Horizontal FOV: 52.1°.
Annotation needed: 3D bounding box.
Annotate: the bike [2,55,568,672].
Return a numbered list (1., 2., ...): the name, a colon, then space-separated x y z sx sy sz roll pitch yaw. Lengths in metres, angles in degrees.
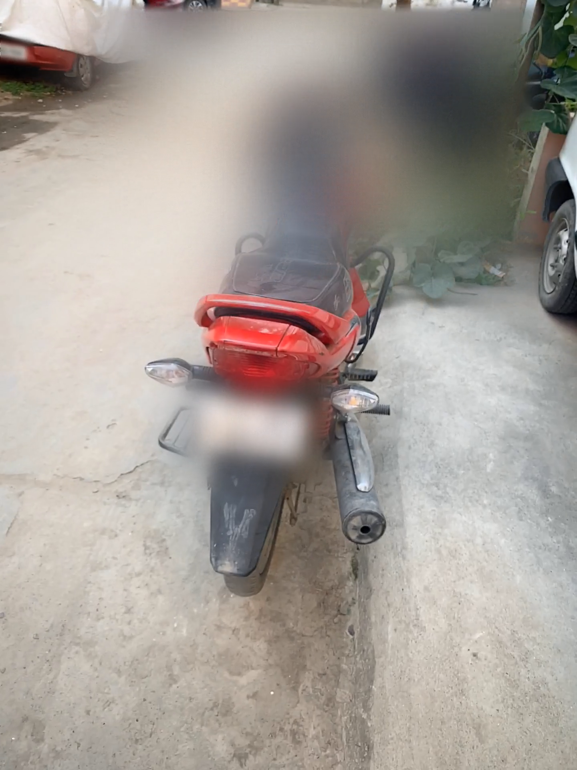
1. bike: -0.041 -0.275 1.819 0.758 1.091 1.717 3 35 -1
